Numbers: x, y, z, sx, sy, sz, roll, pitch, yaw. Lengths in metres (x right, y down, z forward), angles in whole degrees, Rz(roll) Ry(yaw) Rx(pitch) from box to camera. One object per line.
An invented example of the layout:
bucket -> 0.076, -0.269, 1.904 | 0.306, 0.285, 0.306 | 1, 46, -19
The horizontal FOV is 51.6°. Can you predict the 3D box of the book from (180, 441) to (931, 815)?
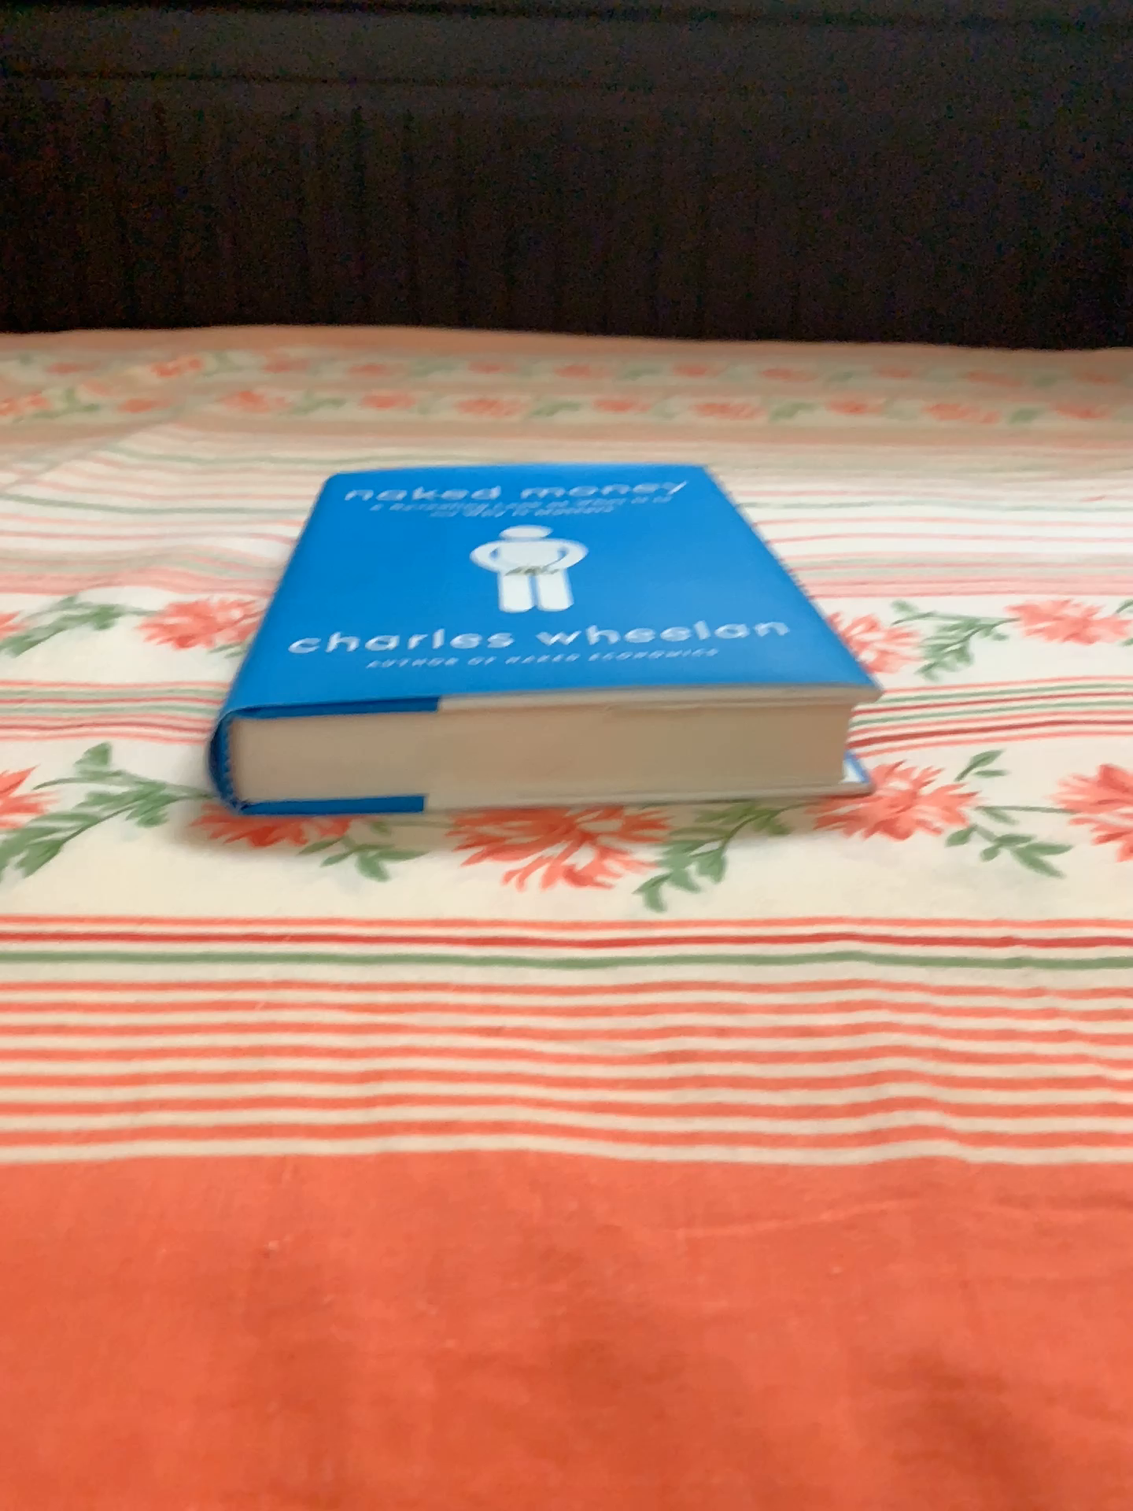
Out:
book -> -0.010, -0.060, 0.386 | 0.170, 0.040, 0.252 | -1, 25, -4
